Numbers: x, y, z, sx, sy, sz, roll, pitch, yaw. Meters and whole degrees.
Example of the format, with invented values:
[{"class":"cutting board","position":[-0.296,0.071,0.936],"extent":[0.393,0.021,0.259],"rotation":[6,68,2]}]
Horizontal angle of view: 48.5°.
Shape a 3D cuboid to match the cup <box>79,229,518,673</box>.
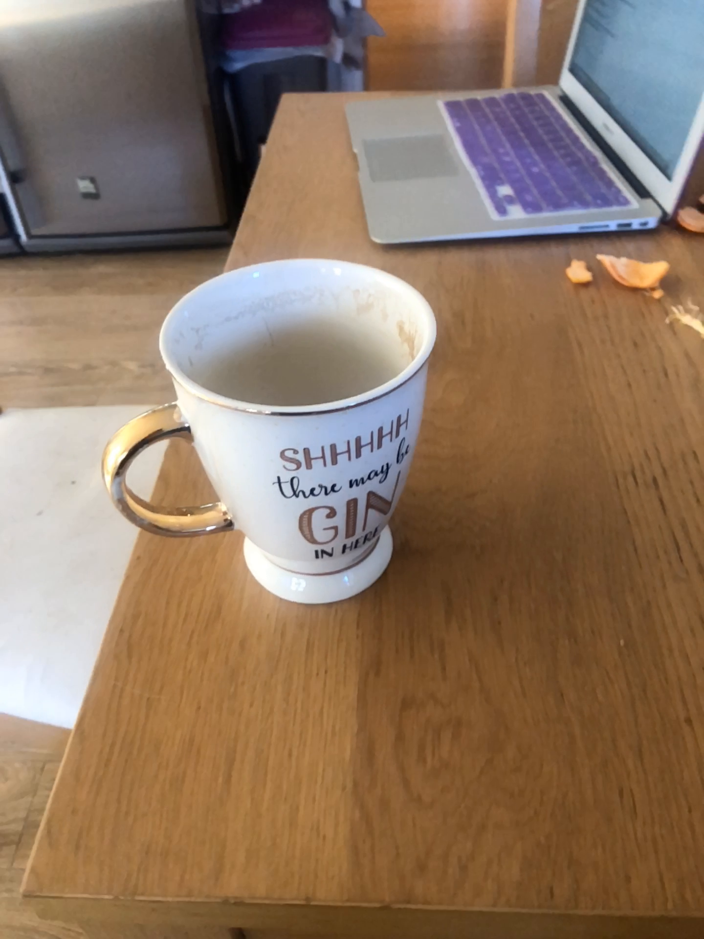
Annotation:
[{"class":"cup","position":[-0.023,-0.013,0.328],"extent":[0.135,0.111,0.109],"rotation":[-17,44,-16]}]
